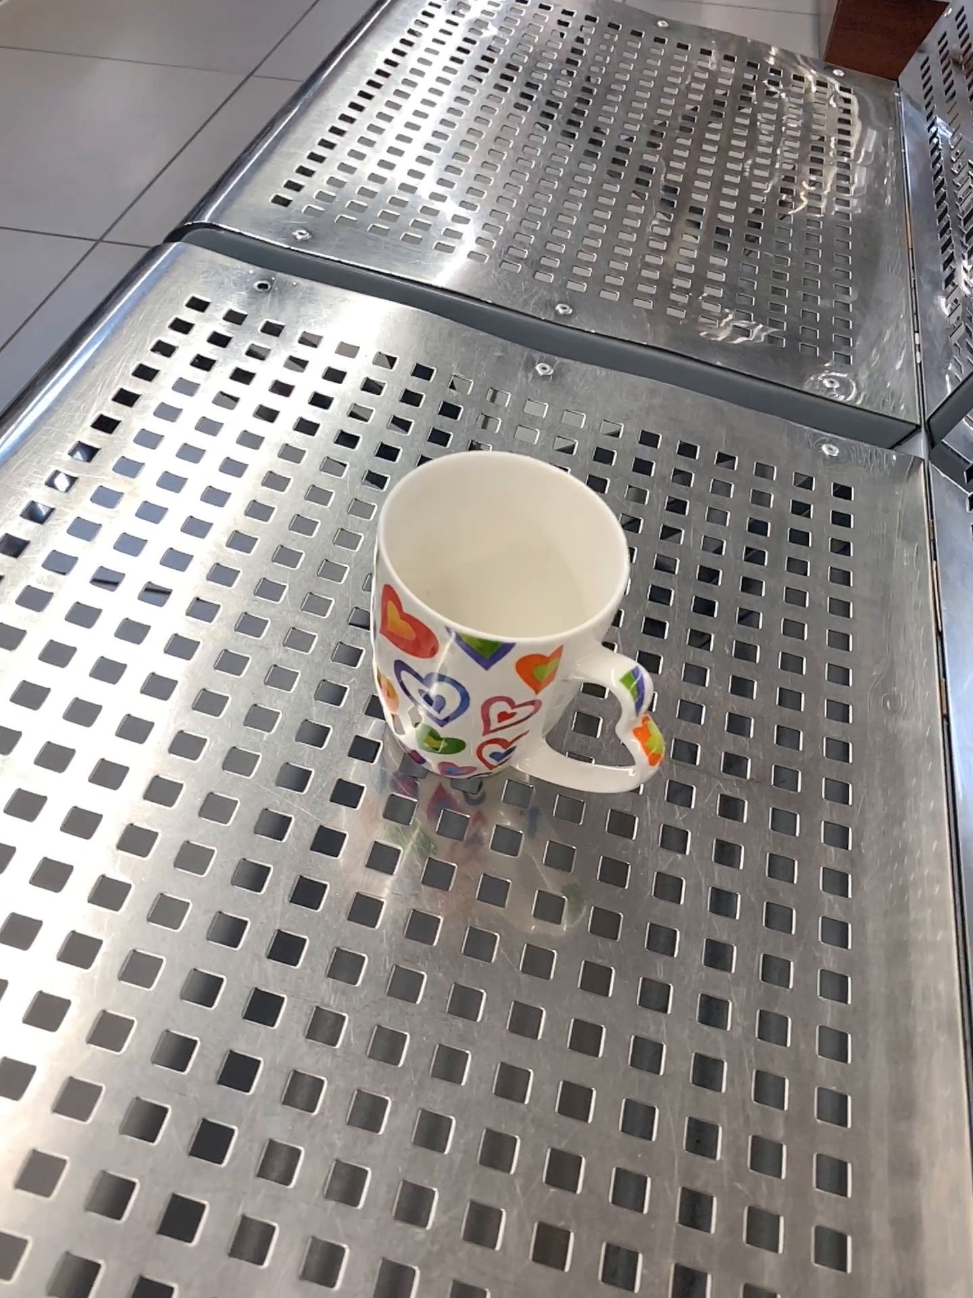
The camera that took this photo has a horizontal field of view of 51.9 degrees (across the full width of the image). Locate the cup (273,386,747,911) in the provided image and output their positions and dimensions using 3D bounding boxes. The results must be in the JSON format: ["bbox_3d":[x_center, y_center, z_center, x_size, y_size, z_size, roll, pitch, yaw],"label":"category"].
[{"bbox_3d":[-0.001,0.000,0.323,0.120,0.100,0.070,41,58,19],"label":"cup"}]
